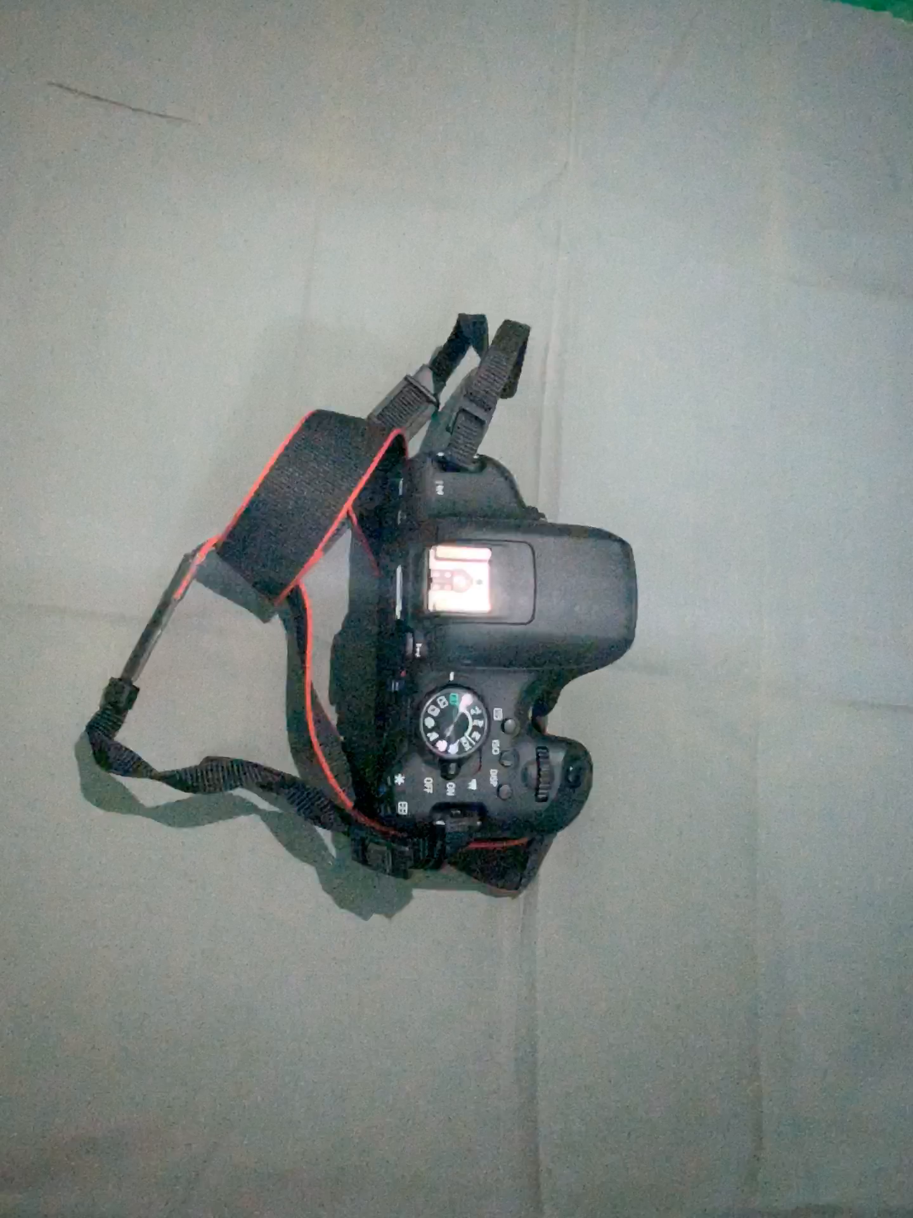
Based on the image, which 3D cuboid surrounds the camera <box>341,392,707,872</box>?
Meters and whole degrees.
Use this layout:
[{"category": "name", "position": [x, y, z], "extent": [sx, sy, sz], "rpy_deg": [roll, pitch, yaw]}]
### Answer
[{"category": "camera", "position": [0.016, 0.015, 0.307], "extent": [0.090, 0.088, 0.132], "rpy_deg": [5, 75, -13]}]
